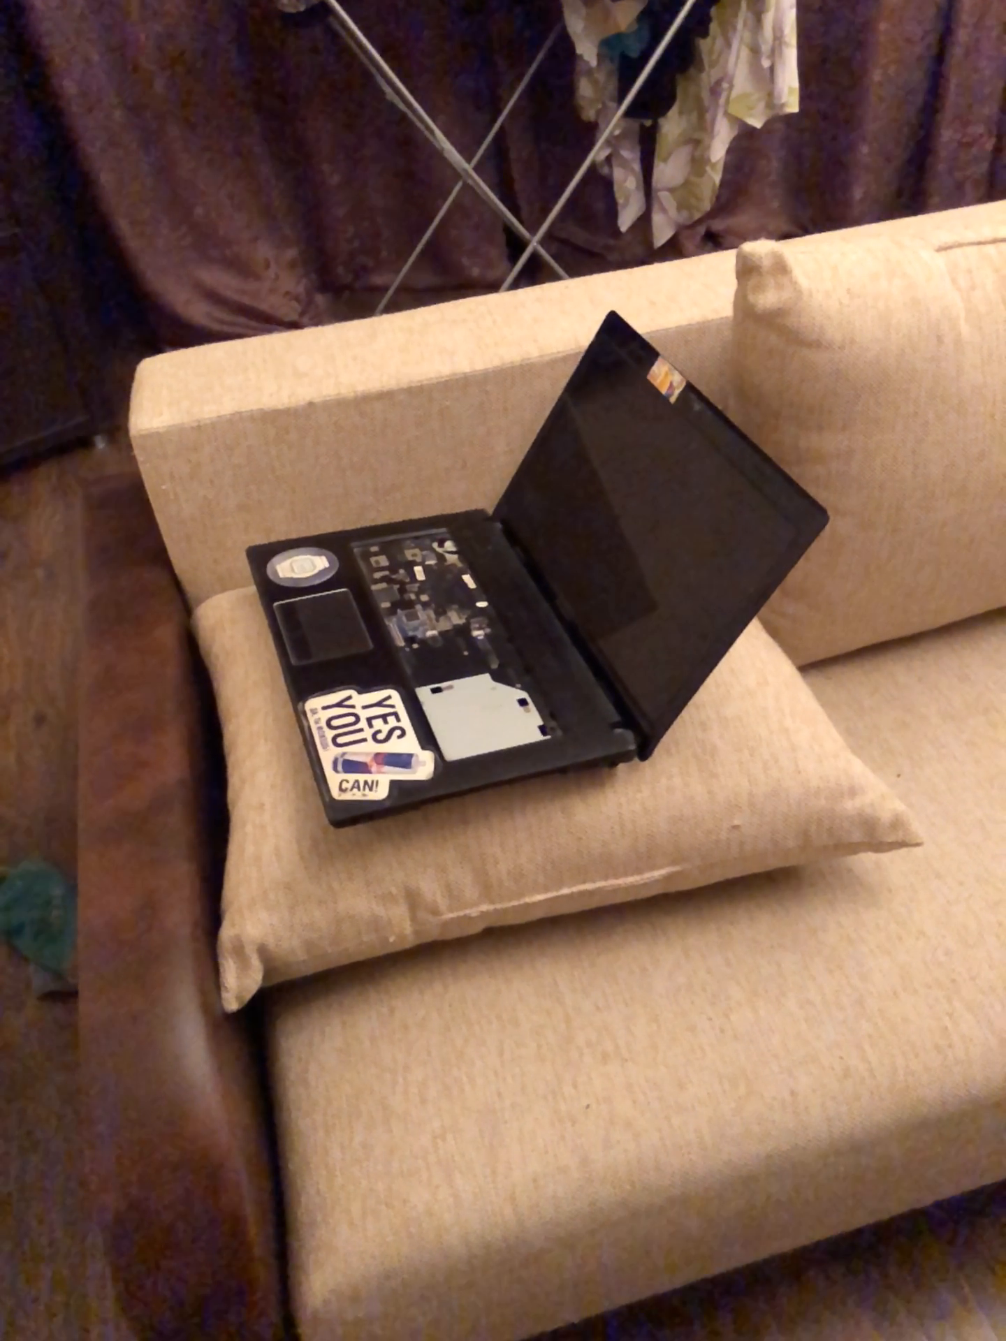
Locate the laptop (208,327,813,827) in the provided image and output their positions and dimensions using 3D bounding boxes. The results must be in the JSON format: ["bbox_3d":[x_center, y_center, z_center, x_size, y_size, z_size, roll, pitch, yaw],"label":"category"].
[{"bbox_3d":[-0.015,-0.116,1.026,0.408,0.198,0.414,-13,42,-13],"label":"laptop"}]
